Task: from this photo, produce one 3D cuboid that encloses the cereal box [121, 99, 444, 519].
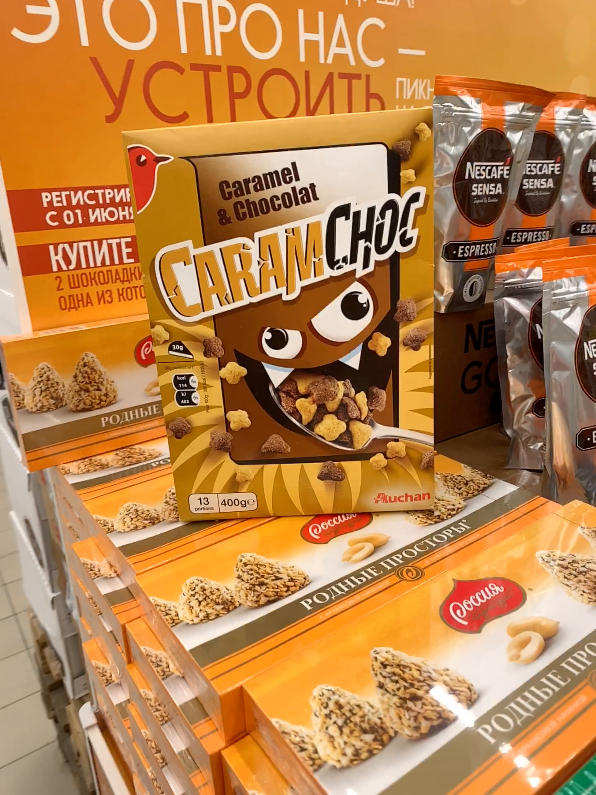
[{"bbox_3d":[-0.001,-0.054,0.450,0.200,0.279,0.060,-3,18,3],"label":"cereal box"}]
